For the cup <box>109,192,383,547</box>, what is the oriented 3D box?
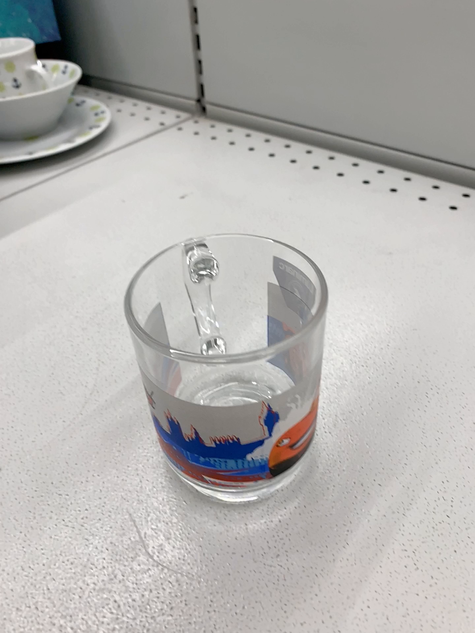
[{"bbox_3d":[-0.002,0.015,0.193,0.072,0.081,0.102,-7,41,-4],"label":"cup"}]
